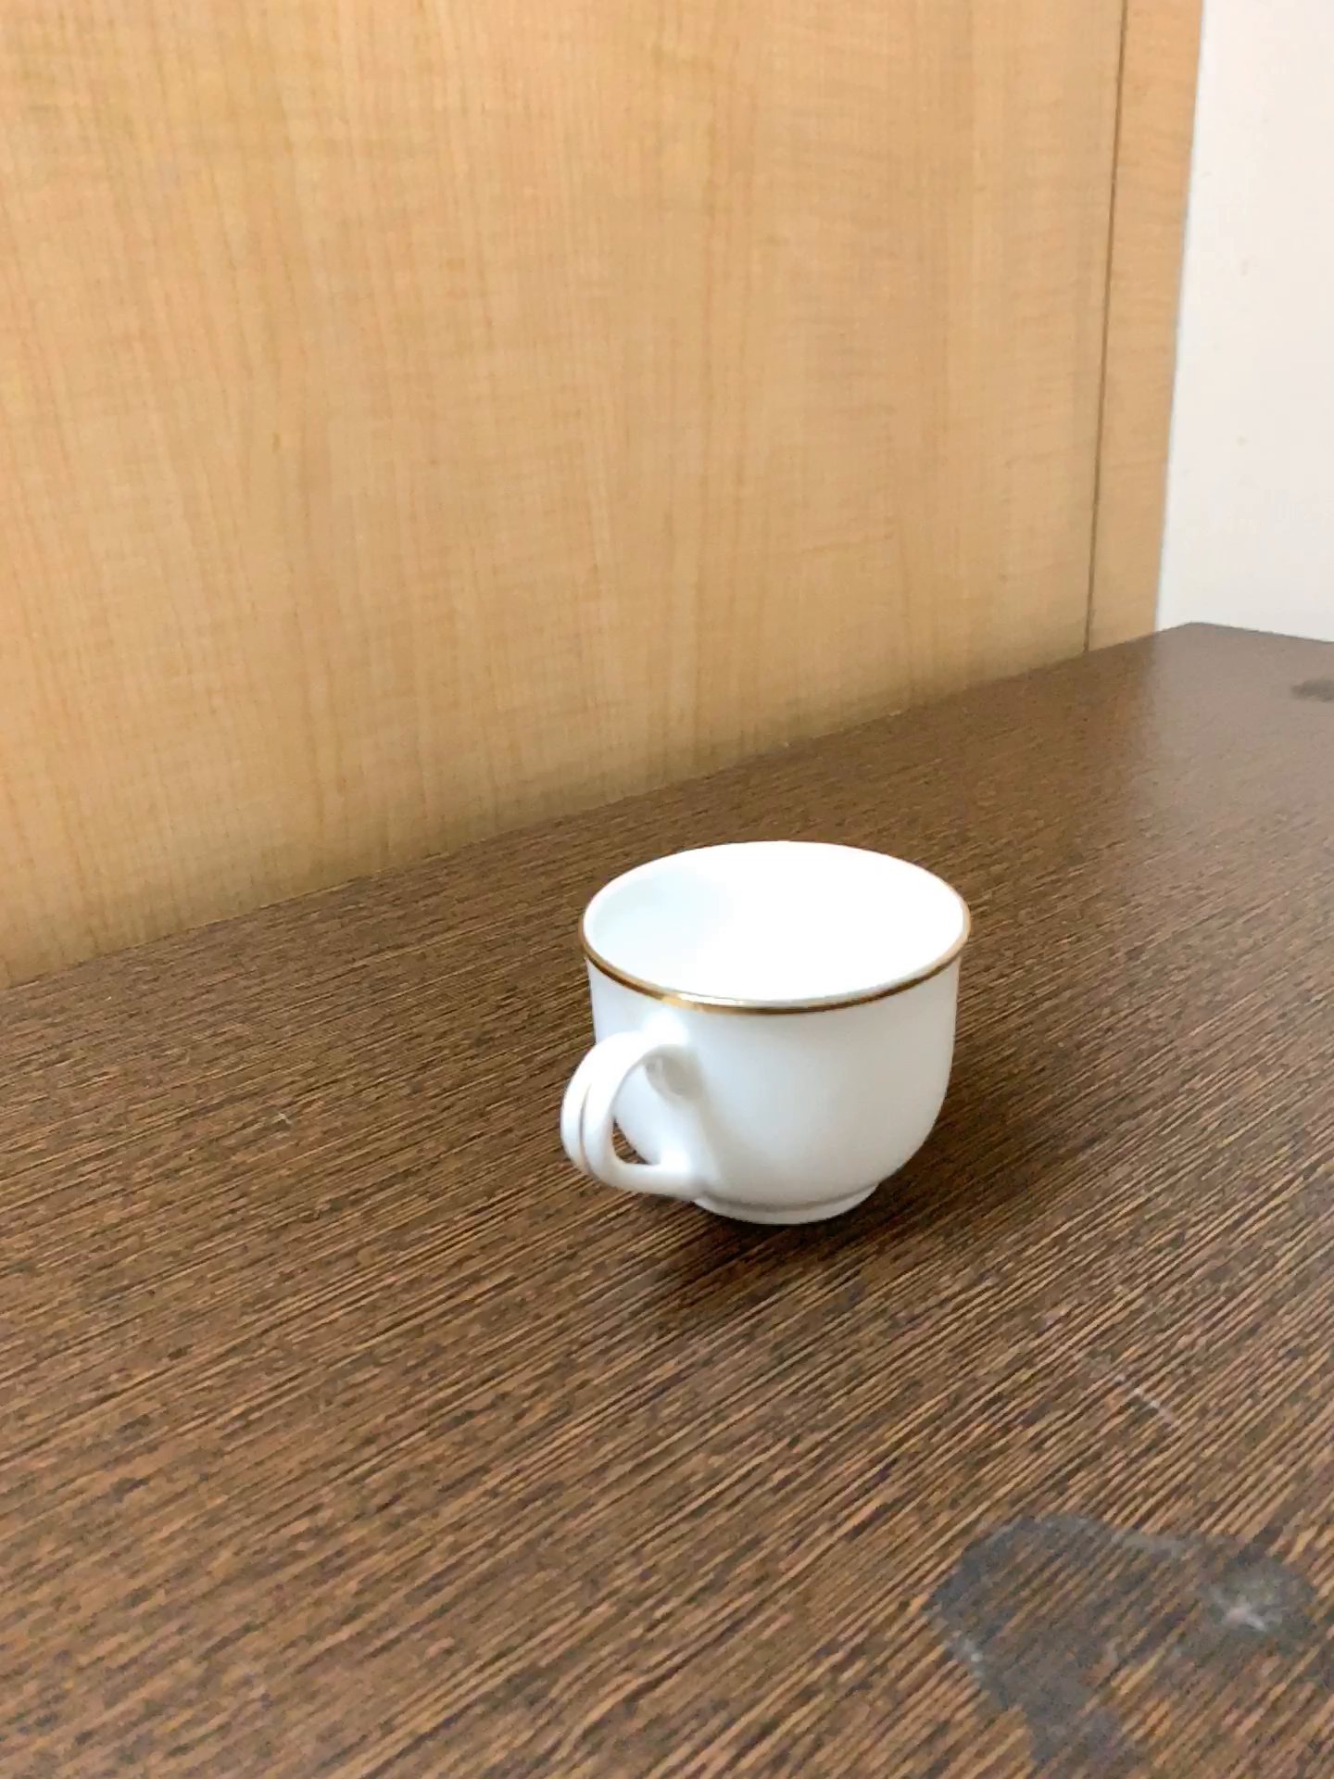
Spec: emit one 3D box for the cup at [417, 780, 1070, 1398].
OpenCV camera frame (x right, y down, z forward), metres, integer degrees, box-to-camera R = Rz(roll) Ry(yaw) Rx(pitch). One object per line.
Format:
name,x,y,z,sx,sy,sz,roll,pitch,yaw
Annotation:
cup,0.016,0.023,0.222,0.060,0.050,0.090,14,28,36
